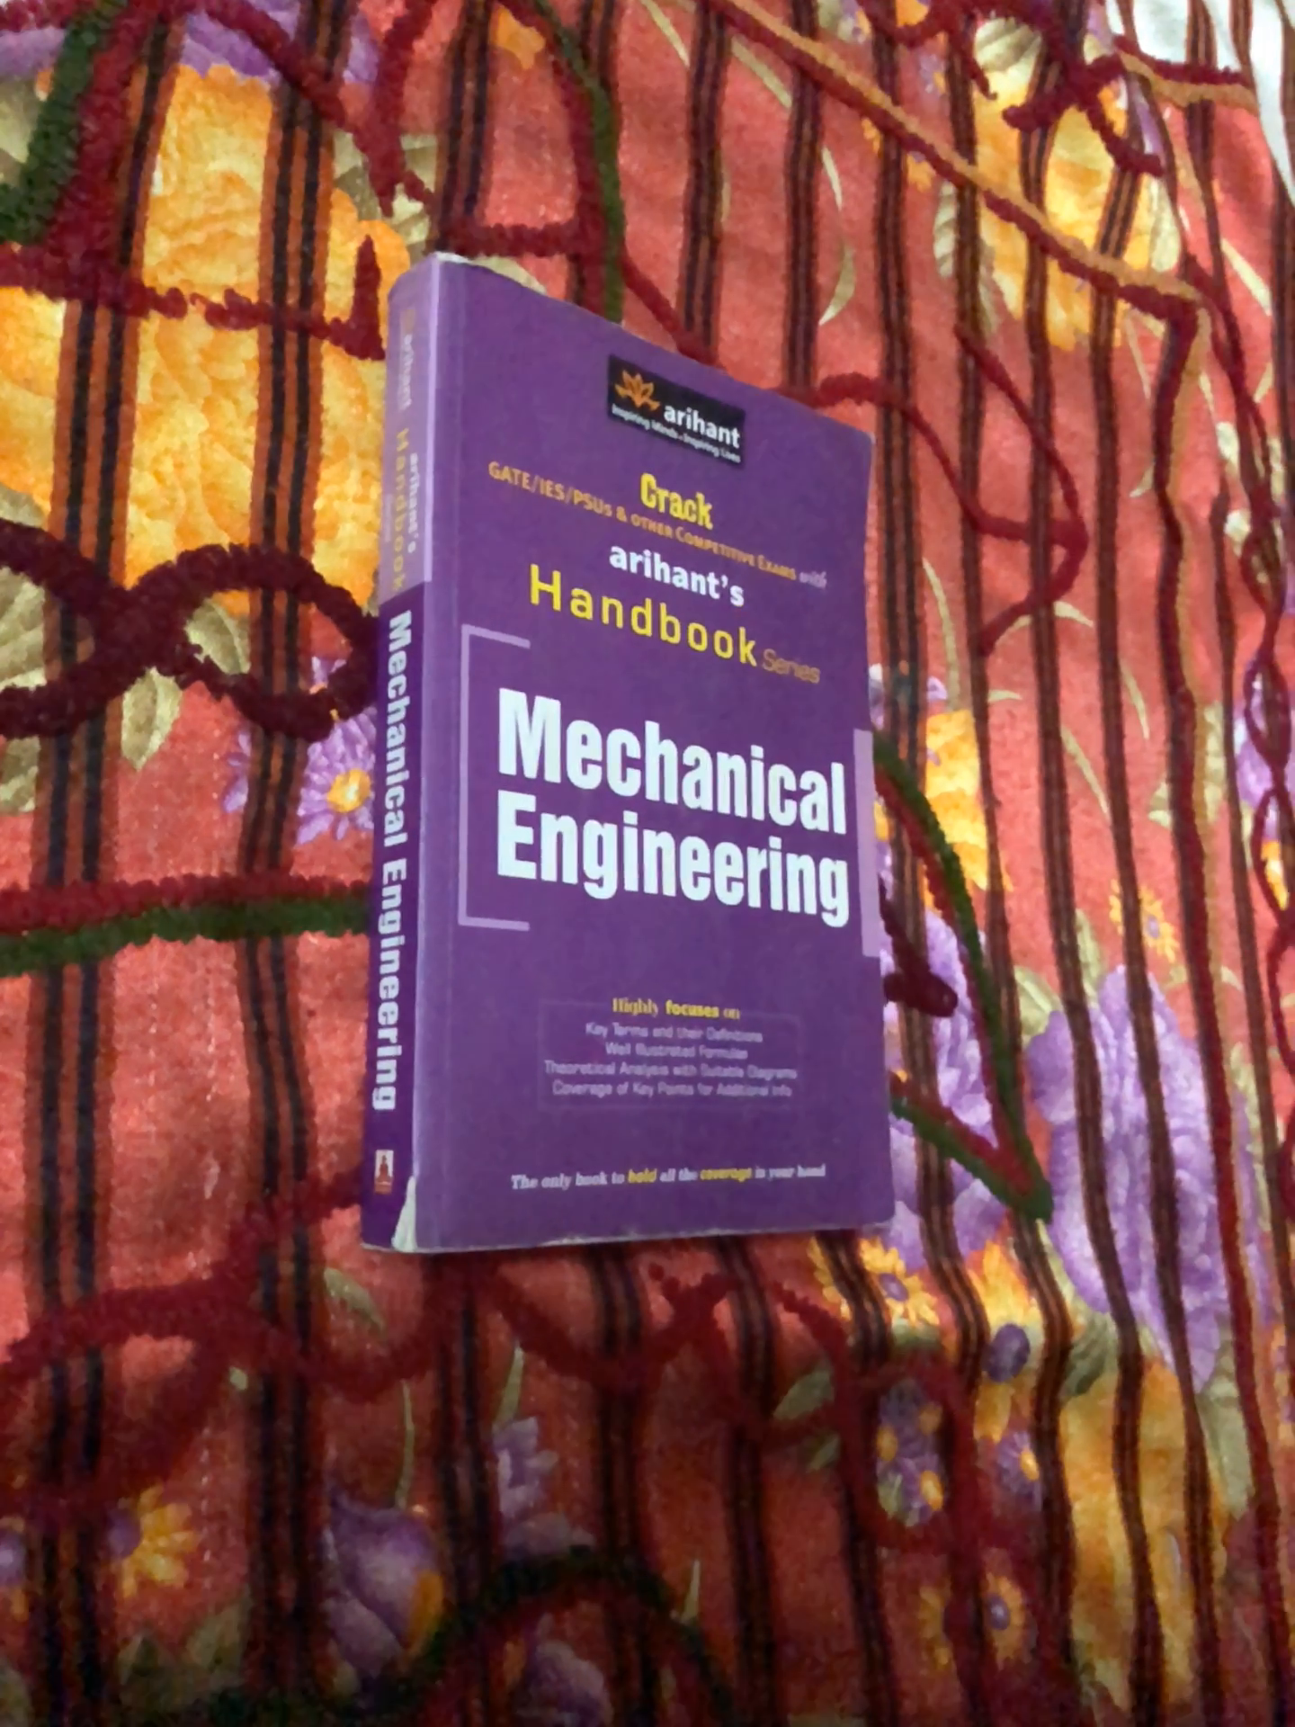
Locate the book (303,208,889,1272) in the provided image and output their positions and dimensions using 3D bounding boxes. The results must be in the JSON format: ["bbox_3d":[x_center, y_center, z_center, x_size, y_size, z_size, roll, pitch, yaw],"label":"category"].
[{"bbox_3d":[-0.008,-0.023,0.366,0.148,0.040,0.231,7,77,-40],"label":"book"}]
